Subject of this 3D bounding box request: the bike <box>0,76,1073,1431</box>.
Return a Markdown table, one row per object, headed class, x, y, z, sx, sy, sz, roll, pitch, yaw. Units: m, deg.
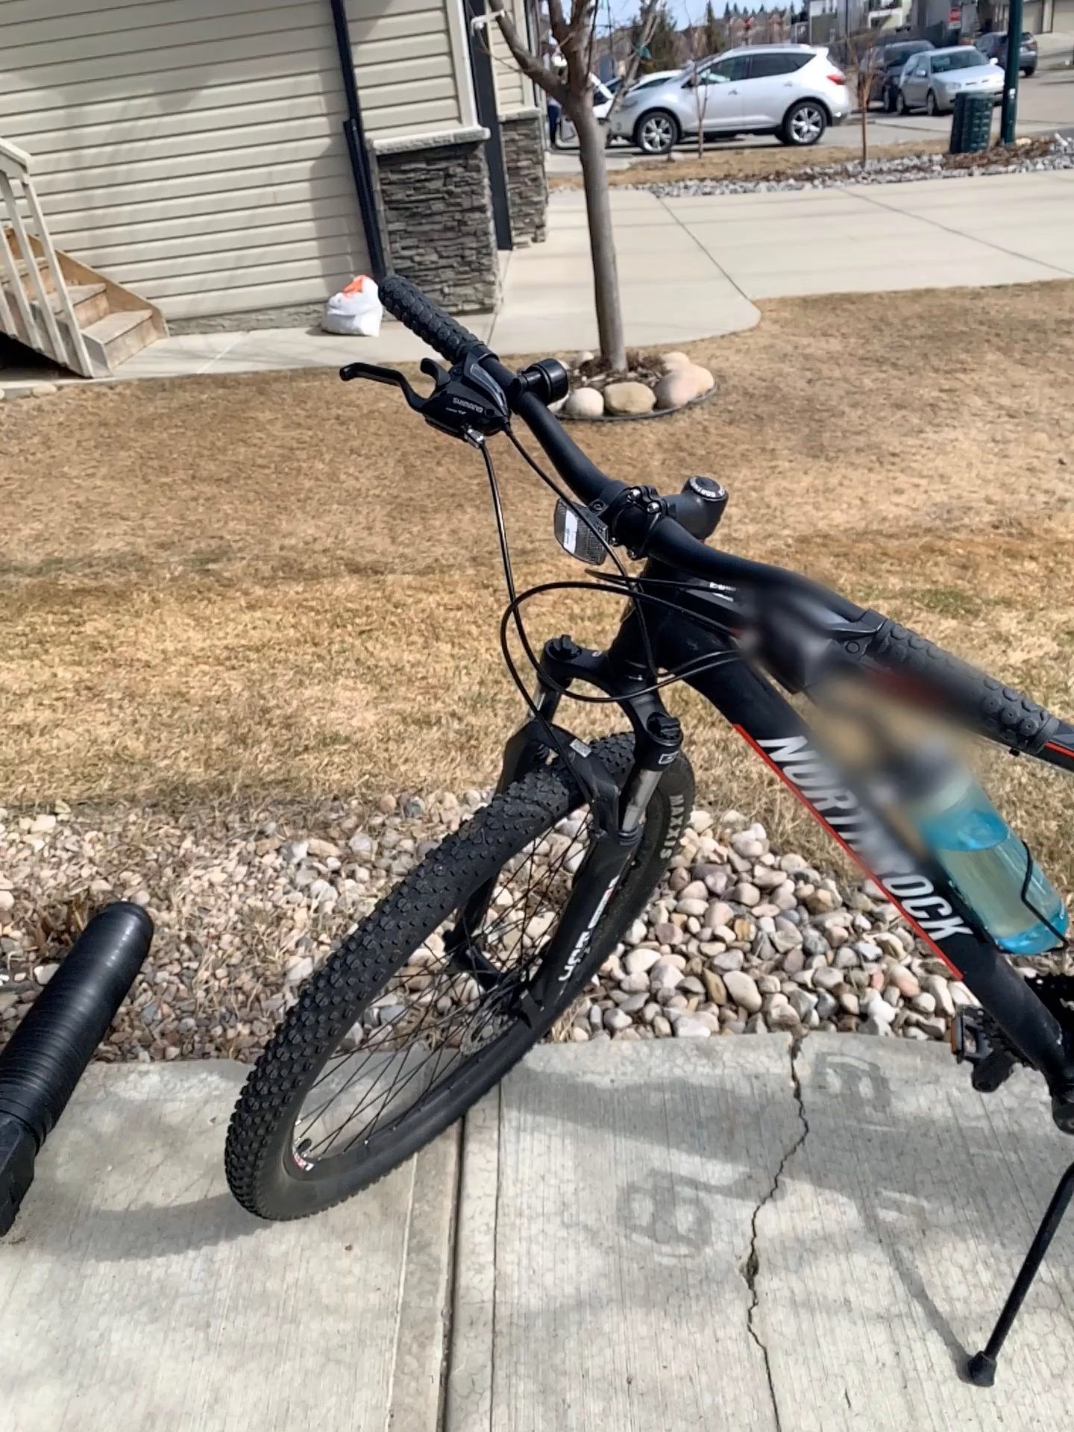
| class | x | y | z | sx | sy | sz | roll | pitch | yaw |
| --- | --- | --- | --- | --- | --- | --- | --- | --- | --- |
| bike | 0.413 | 0.225 | 0.891 | 1.479 | 1.005 | 0.603 | -3 | 29 | 14 |
